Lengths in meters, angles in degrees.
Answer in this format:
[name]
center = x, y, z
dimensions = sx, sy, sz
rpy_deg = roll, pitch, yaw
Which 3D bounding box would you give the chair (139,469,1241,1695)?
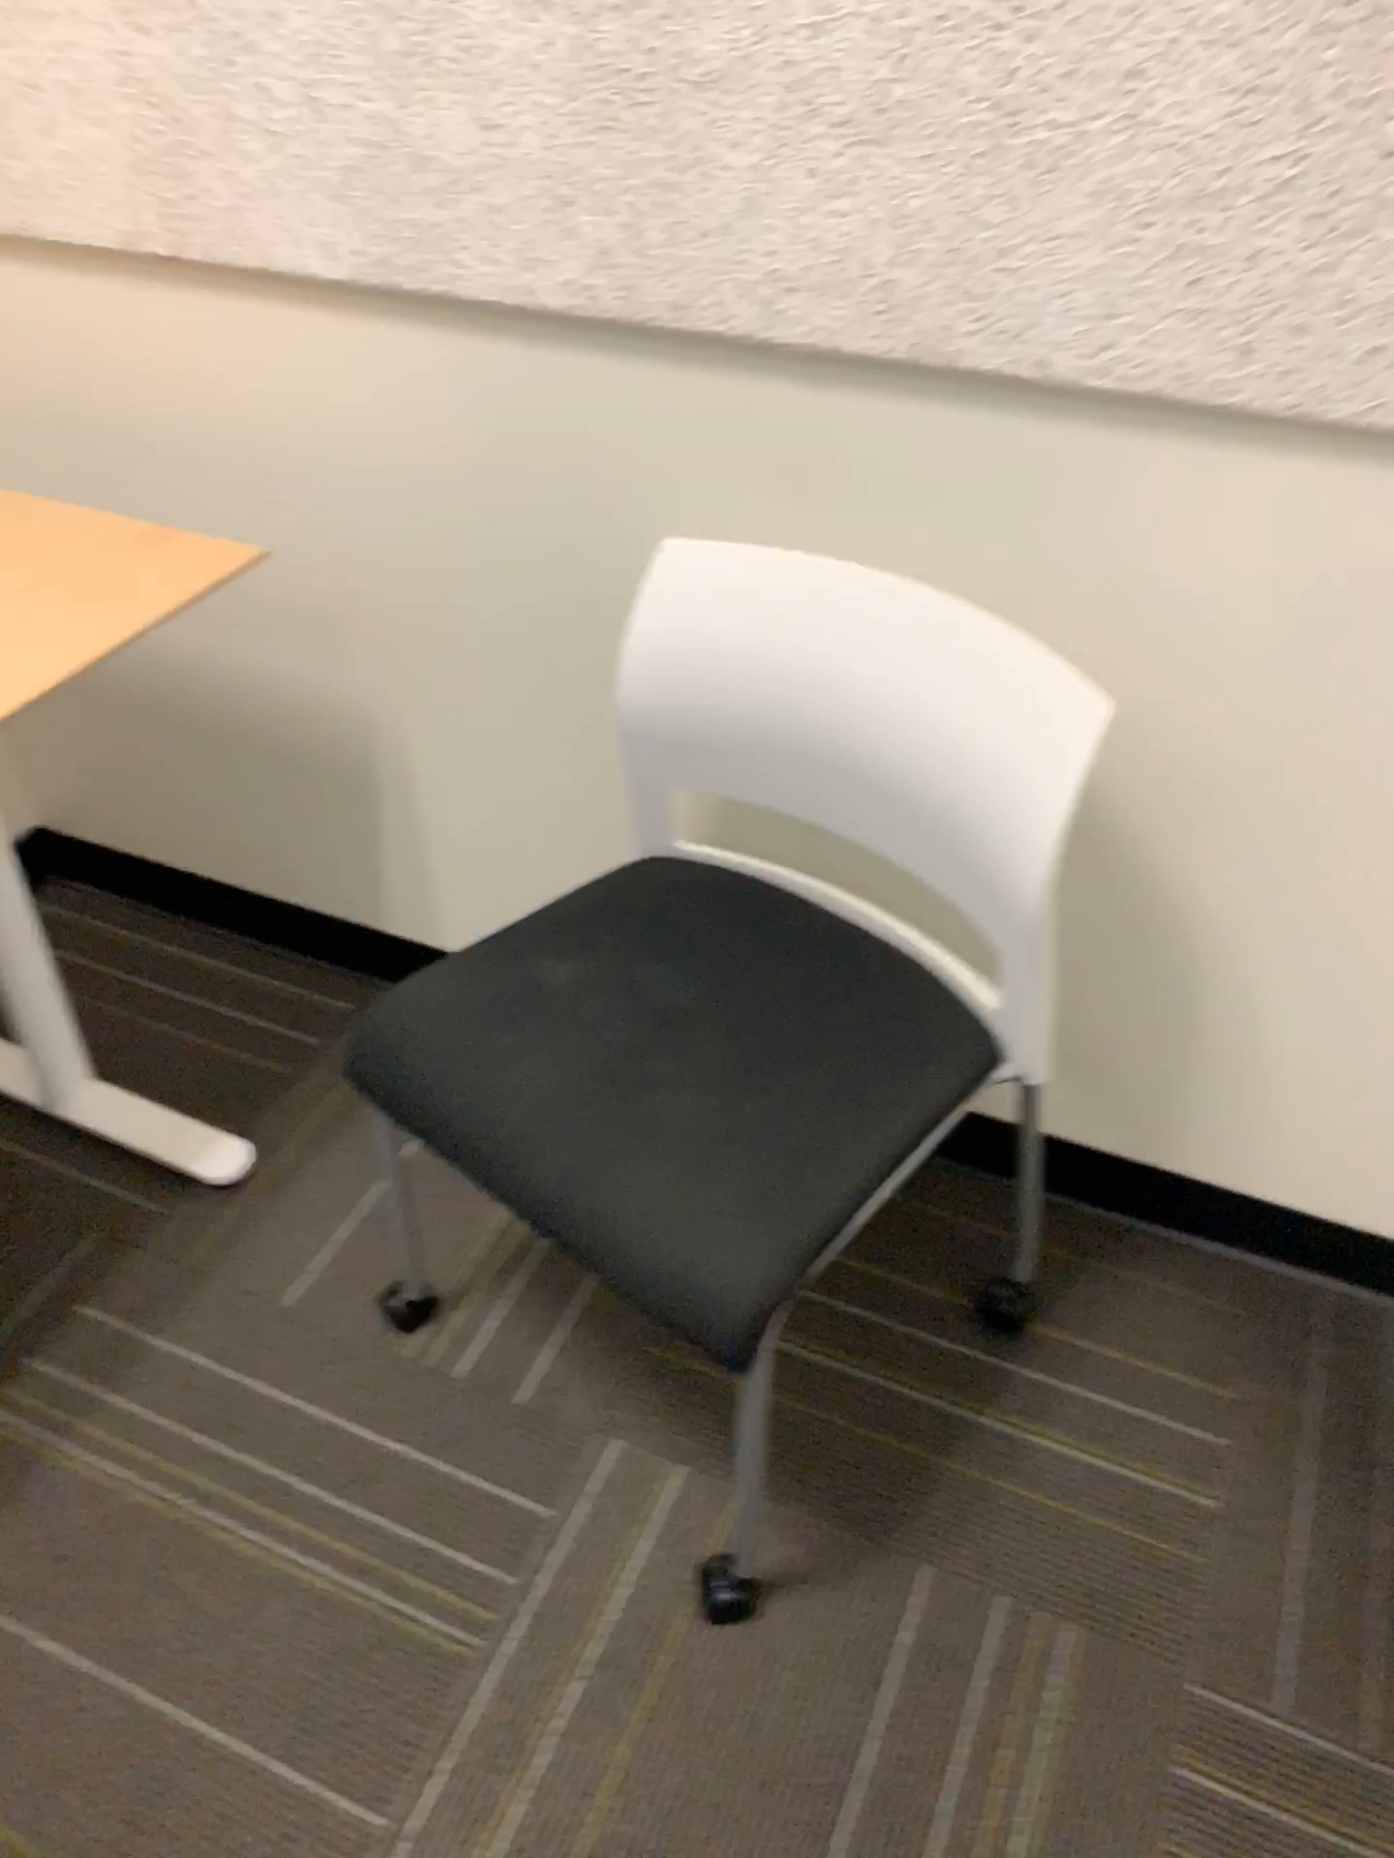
[chair]
center = 0.008, 0.105, 1.378
dimensions = 0.622, 0.775, 0.621
rpy_deg = 26, 46, 29
